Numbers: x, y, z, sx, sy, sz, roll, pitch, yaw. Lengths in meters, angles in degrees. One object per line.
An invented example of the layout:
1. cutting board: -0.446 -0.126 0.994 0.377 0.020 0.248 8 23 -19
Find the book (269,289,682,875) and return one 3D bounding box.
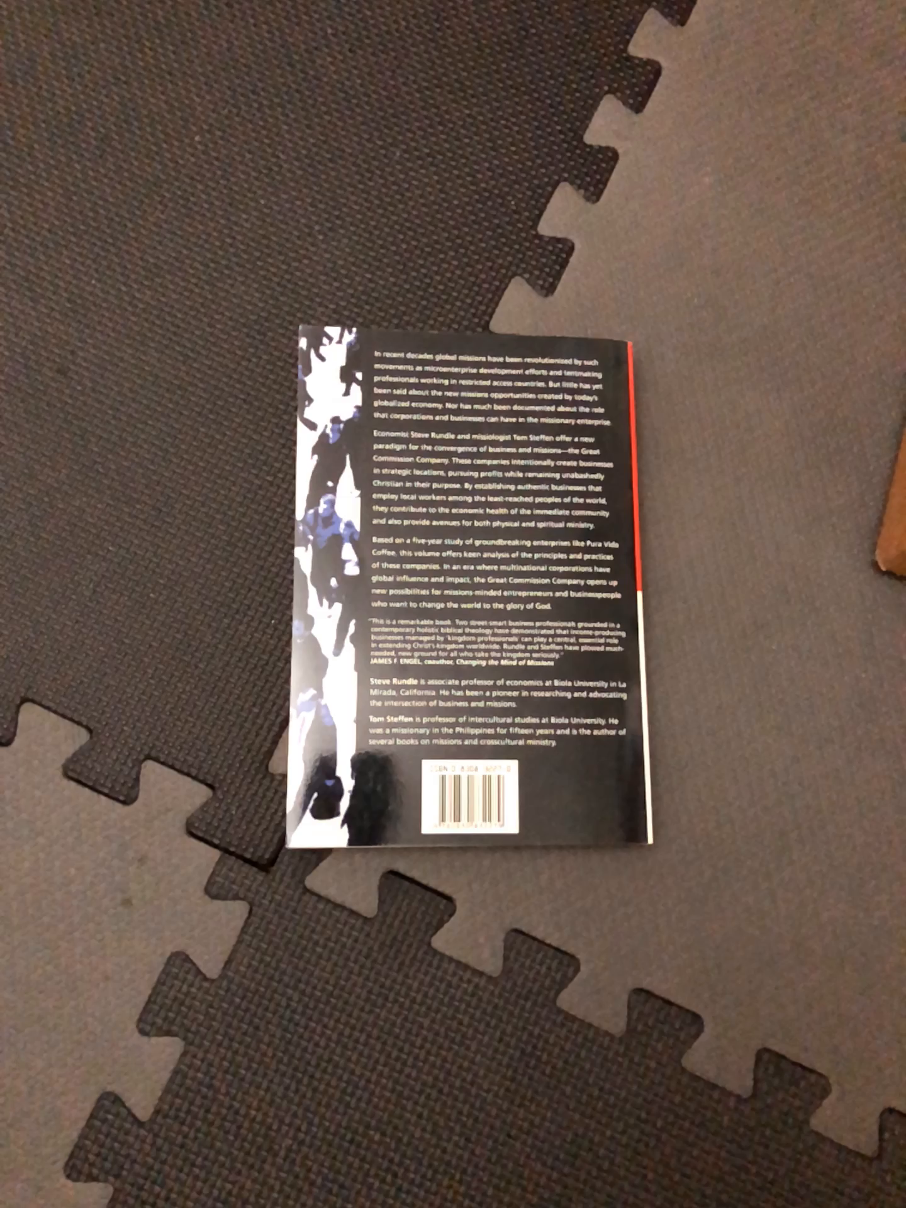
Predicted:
1. book: 0.006 -0.014 0.396 0.150 0.020 0.230 0 77 -5

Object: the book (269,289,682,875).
1. book: 0.006 -0.014 0.396 0.150 0.020 0.230 0 77 -5
